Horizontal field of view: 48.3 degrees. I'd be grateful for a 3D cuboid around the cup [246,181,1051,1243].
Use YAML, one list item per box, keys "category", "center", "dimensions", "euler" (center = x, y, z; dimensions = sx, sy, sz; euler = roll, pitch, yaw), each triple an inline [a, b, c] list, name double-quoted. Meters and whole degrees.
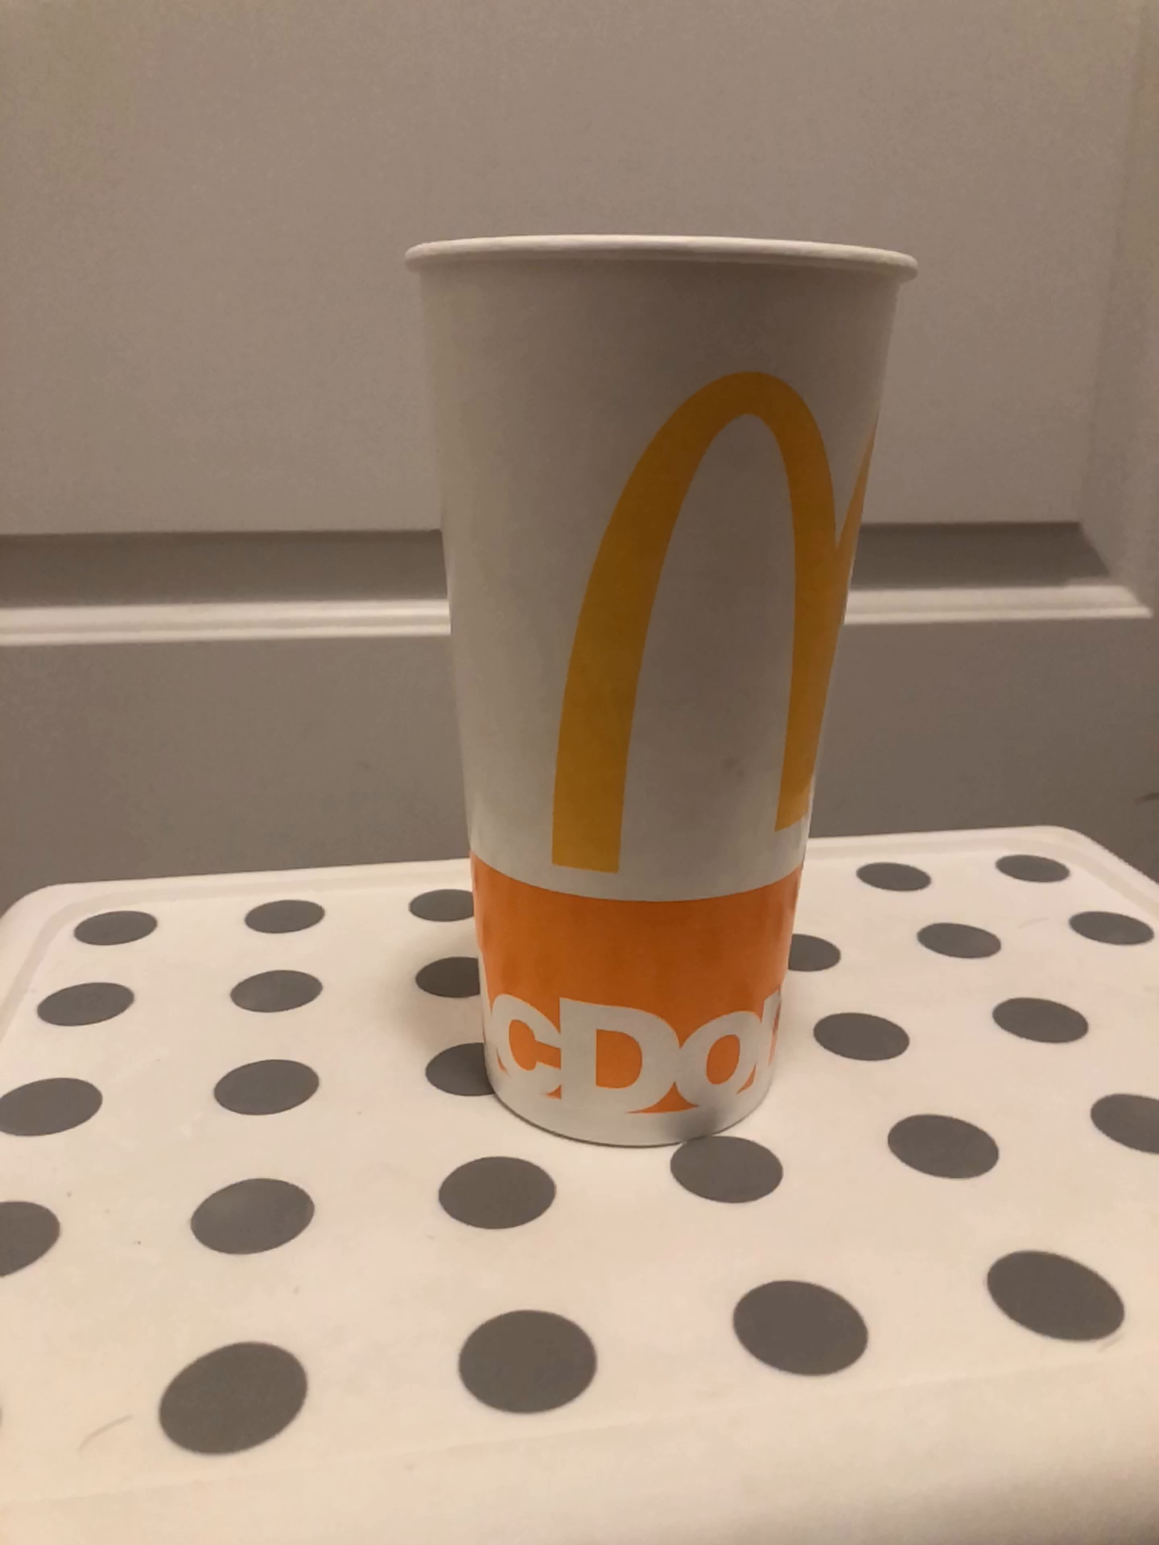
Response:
- category: "cup"
  center: [0.012, -0.021, 0.249]
  dimensions: [0.099, 0.155, 0.100]
  euler: [1, 18, 0]
